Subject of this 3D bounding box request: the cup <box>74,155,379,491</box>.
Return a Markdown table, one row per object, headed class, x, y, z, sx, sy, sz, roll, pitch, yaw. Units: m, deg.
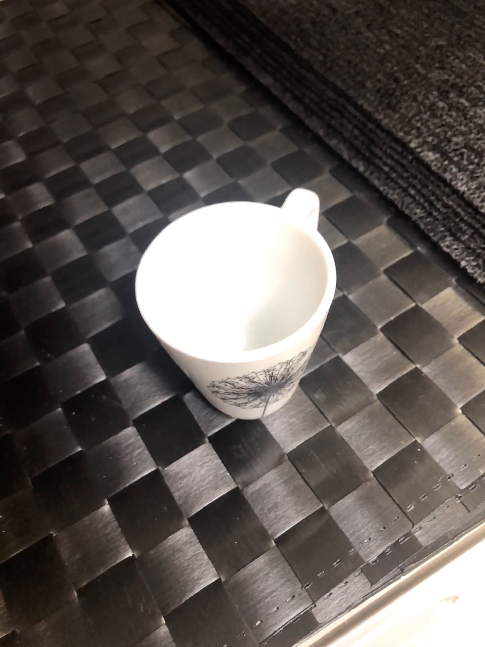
| class | x | y | z | sx | sy | sz | roll | pitch | yaw |
| --- | --- | --- | --- | --- | --- | --- | --- | --- | --- |
| cup | -0.002 | 0.000 | 0.188 | 0.056 | 0.060 | 0.081 | 27 | 63 | 14 |
